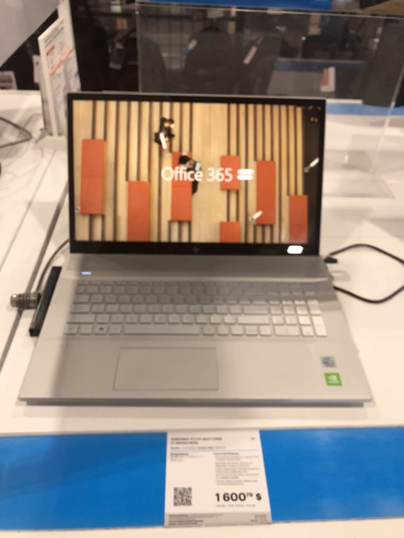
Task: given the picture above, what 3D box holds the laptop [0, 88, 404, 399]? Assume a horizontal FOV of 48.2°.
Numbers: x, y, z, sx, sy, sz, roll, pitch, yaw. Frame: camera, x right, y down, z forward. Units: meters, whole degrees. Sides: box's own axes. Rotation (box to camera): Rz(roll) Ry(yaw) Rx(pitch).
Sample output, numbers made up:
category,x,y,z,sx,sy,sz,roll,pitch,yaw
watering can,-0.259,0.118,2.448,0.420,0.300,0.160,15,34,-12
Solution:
category,x,y,z,sx,sy,sz,roll,pitch,yaw
laptop,-0.007,-0.062,0.597,0.390,0.199,0.399,1,39,-3
